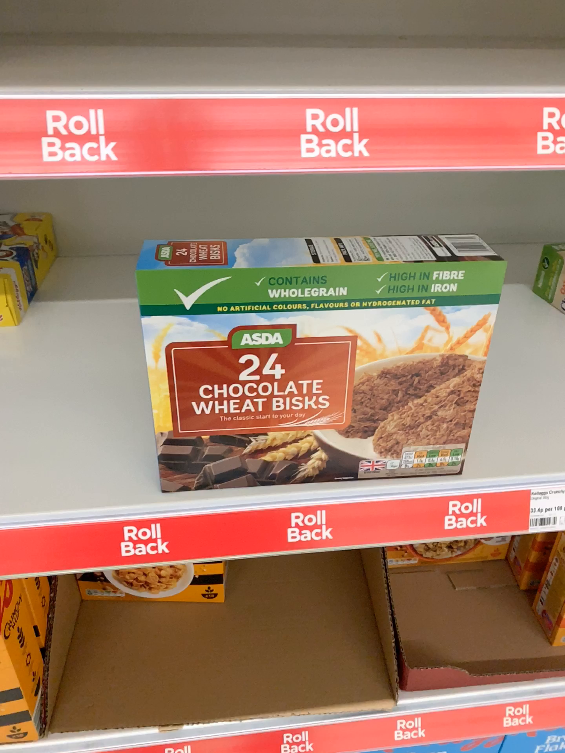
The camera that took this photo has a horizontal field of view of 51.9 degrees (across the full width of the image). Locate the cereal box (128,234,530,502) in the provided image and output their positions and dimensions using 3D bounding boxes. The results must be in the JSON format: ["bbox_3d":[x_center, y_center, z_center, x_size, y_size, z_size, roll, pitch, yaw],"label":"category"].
[{"bbox_3d":[0.028,-0.005,0.433,0.250,0.178,0.071,-2,32,-5],"label":"cereal box"}]
